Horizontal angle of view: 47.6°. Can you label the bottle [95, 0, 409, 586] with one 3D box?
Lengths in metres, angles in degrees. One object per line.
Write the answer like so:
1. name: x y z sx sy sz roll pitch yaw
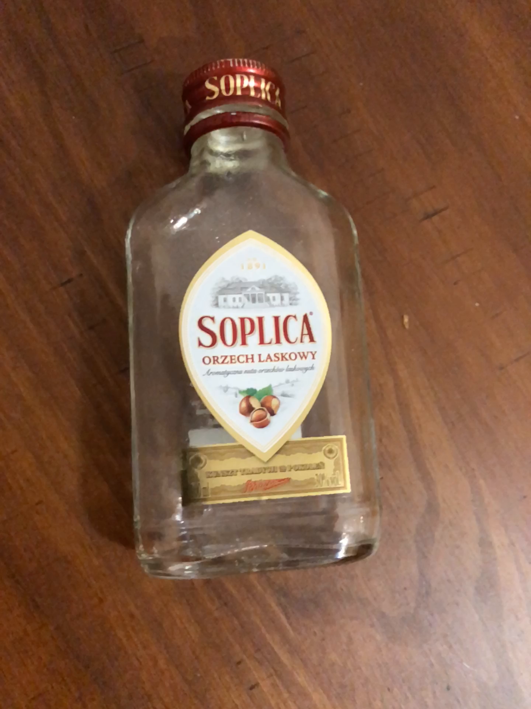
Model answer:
1. bottle: -0.007 -0.021 0.169 0.070 0.030 0.150 -3 80 -9
